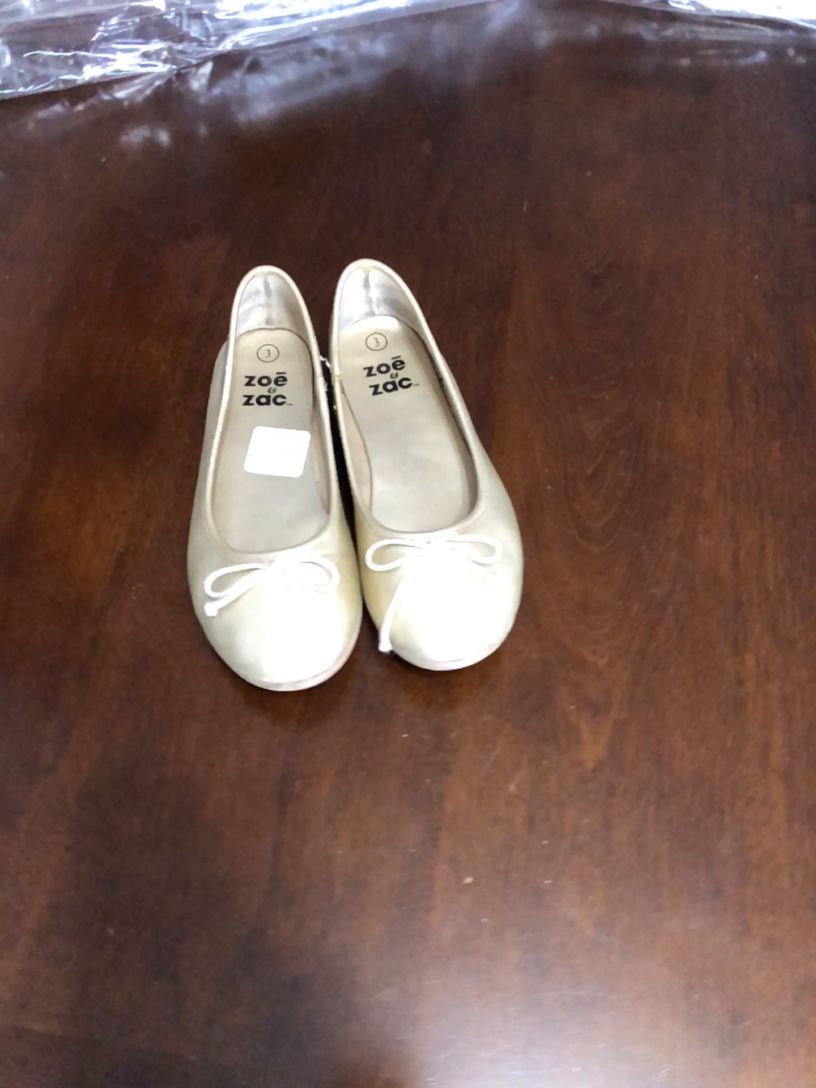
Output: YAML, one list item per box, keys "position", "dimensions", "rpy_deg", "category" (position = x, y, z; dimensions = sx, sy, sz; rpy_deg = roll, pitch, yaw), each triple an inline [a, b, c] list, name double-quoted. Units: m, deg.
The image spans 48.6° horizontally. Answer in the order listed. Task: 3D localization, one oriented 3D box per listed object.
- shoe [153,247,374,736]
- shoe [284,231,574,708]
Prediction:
- position: [-0.074, -0.034, 0.442]
  dimensions: [0.080, 0.070, 0.230]
  rpy_deg: [-8, 60, -4]
  category: "shoe"
- position: [0.001, -0.046, 0.455]
  dimensions: [0.090, 0.070, 0.230]
  rpy_deg: [-10, 60, -6]
  category: "shoe"
